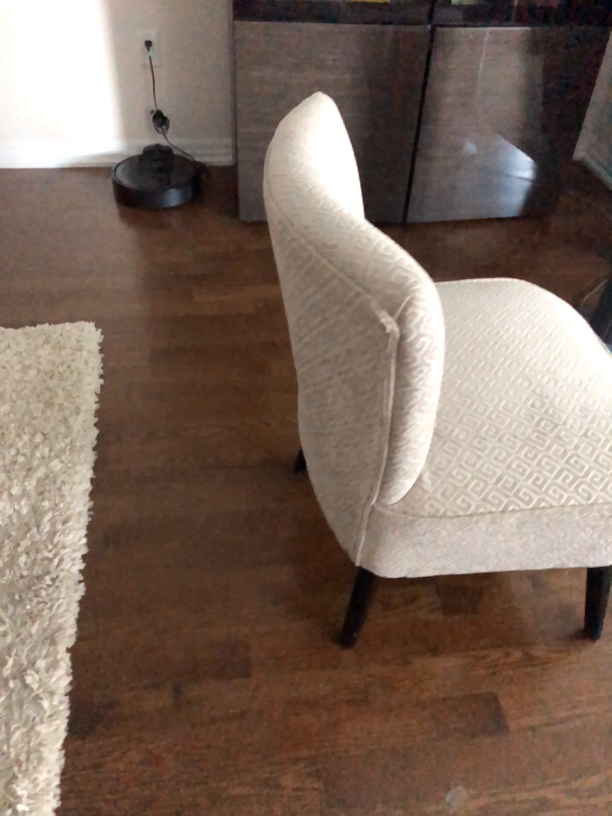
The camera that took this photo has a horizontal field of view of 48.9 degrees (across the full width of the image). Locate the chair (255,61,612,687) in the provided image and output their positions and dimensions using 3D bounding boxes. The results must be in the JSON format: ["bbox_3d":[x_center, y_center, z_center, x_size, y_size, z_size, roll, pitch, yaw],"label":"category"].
[{"bbox_3d":[0.271,-0.055,1.127,0.640,0.797,0.602,-5,44,-9],"label":"chair"}]
